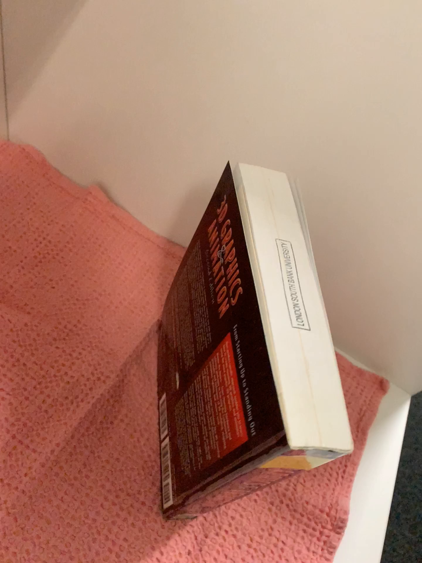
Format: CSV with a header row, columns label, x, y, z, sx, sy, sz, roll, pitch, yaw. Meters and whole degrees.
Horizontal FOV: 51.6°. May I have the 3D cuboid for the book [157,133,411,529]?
label,x,y,z,sx,sy,sz,roll,pitch,yaw
book,0.017,0.053,0.343,0.060,0.229,0.221,7,54,-19
